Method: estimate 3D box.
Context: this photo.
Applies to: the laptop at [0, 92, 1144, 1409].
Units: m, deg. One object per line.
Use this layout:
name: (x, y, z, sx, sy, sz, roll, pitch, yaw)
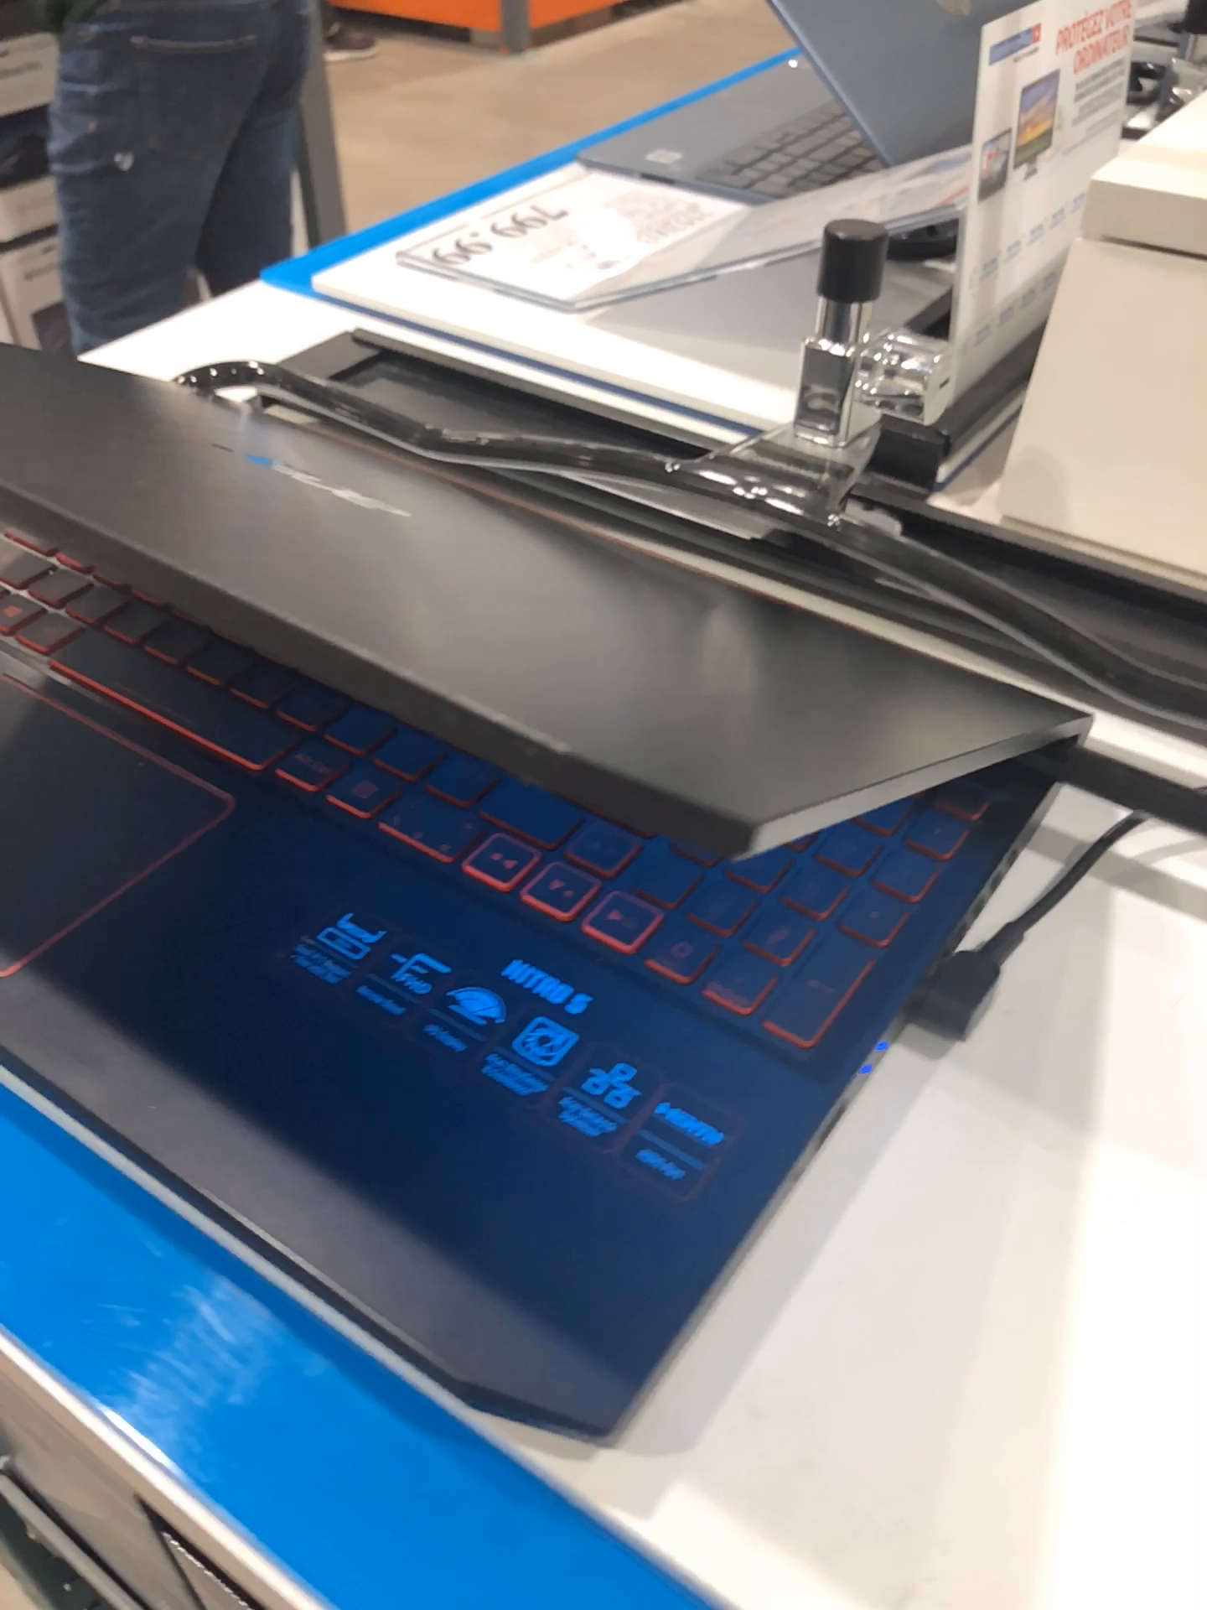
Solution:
laptop: (-0.084, -0.062, 0.341, 0.344, 0.121, 0.218, 25, 47, 24)
